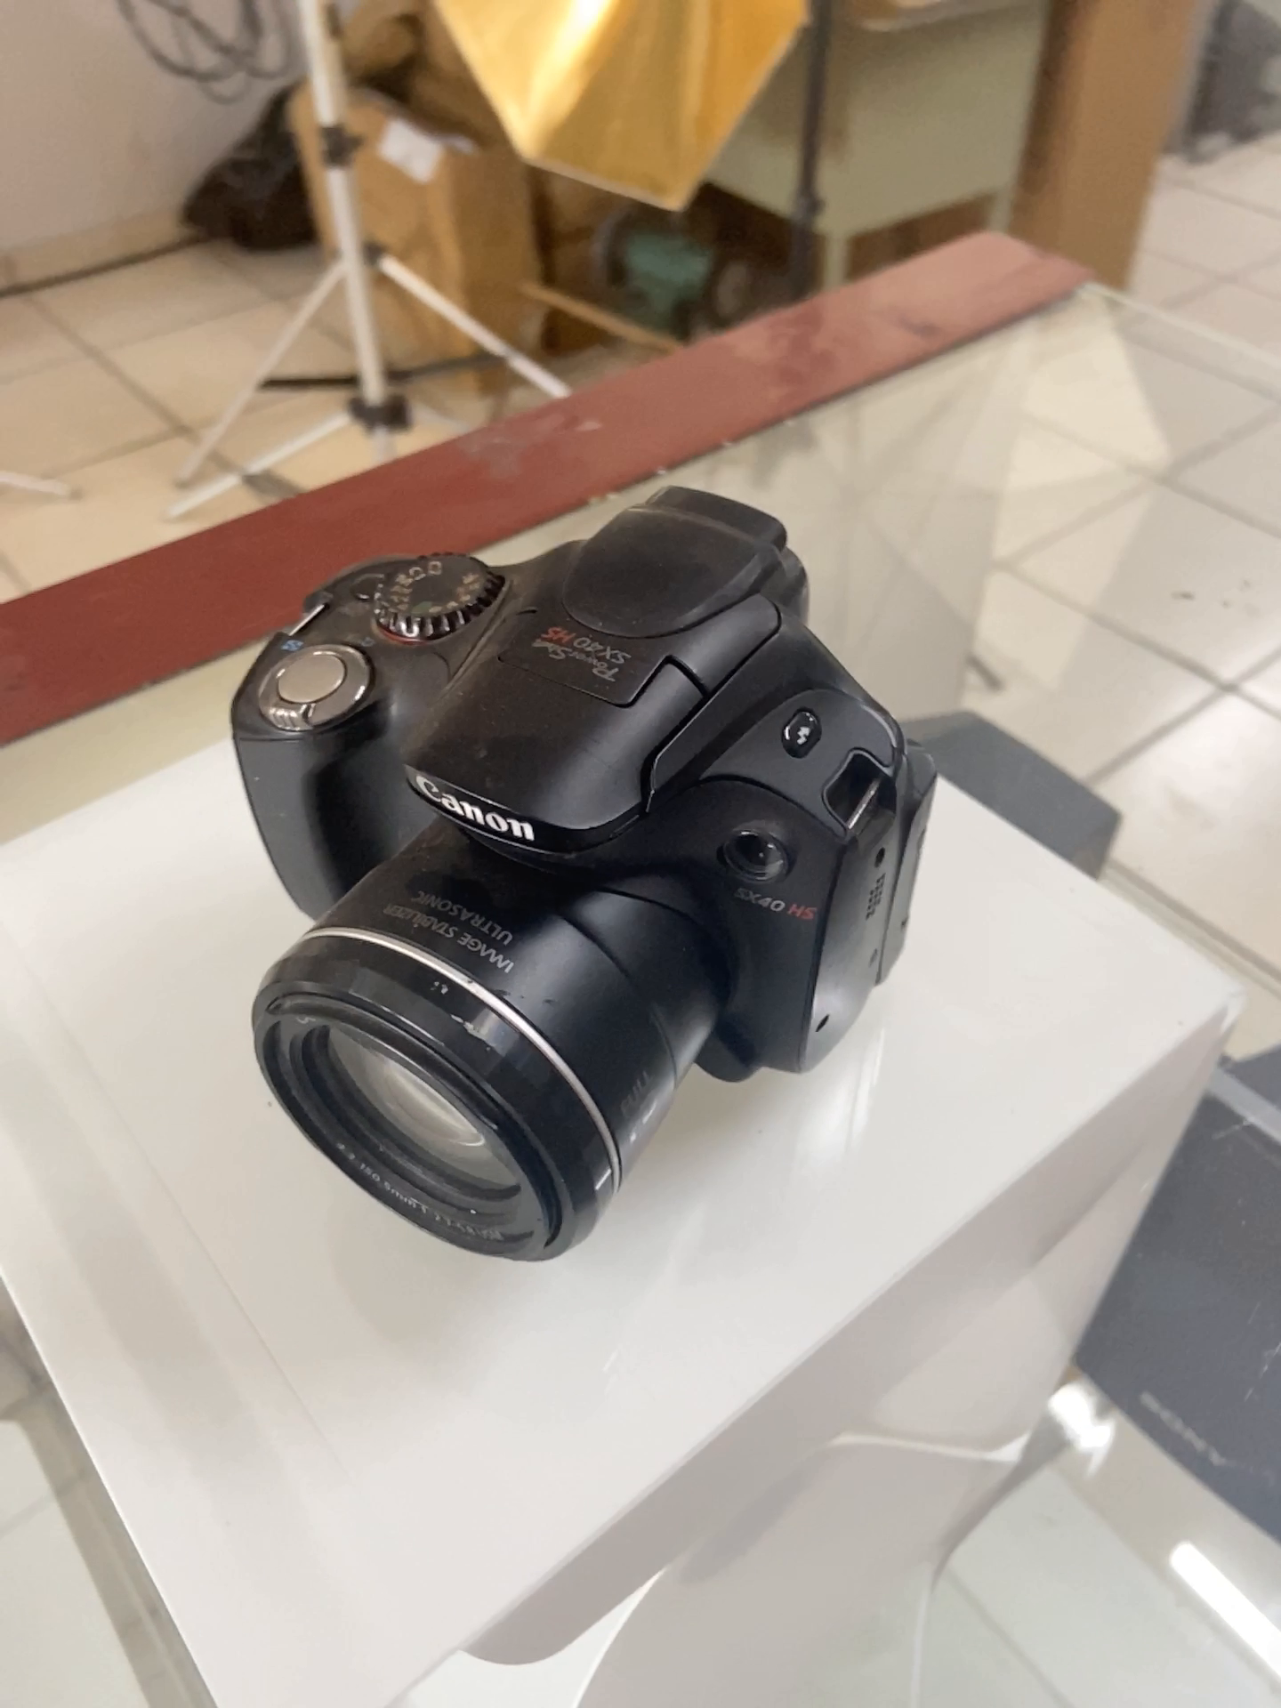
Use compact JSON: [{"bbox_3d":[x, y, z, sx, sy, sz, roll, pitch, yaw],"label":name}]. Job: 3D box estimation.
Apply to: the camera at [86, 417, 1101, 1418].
[{"bbox_3d":[0.002,0.000,0.258,0.120,0.089,0.141,19,48,19],"label":"camera"}]
